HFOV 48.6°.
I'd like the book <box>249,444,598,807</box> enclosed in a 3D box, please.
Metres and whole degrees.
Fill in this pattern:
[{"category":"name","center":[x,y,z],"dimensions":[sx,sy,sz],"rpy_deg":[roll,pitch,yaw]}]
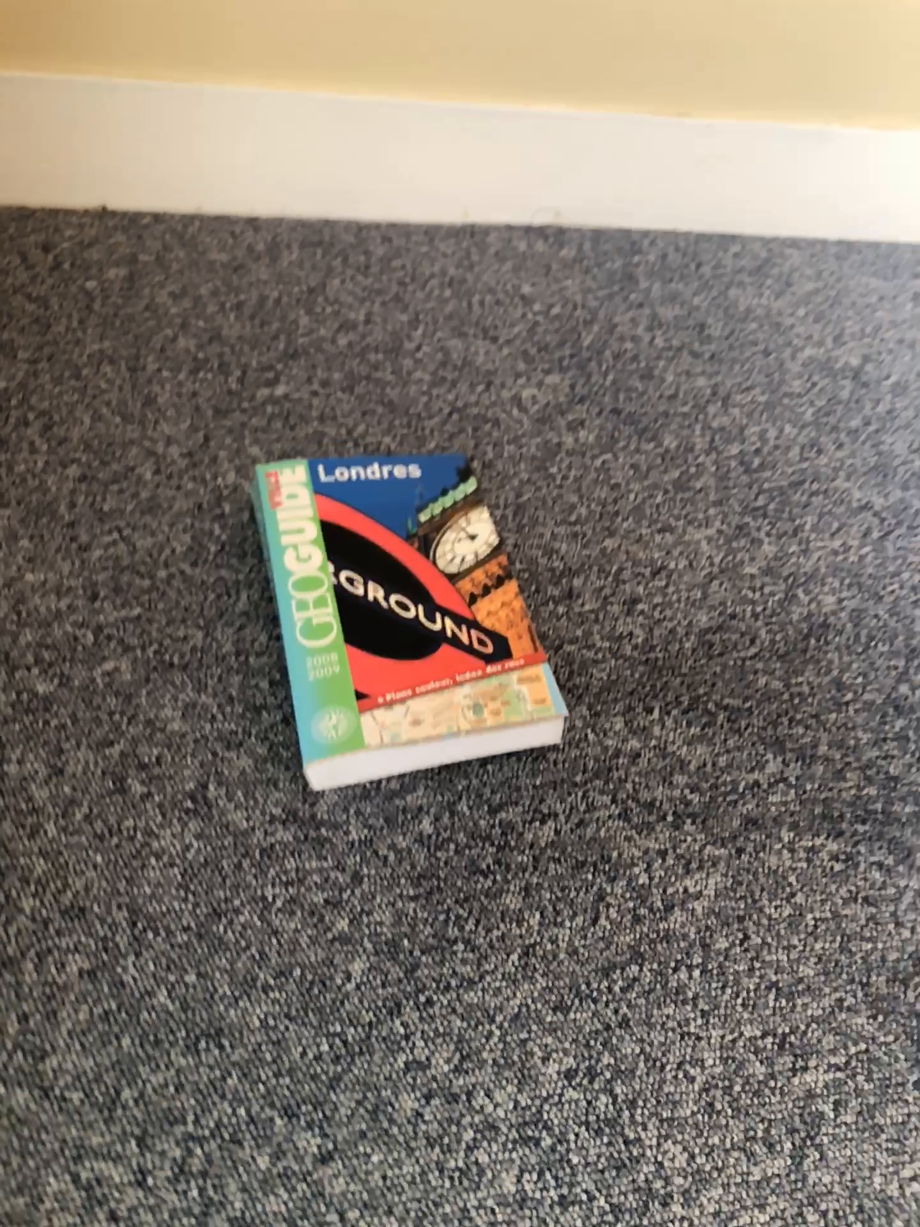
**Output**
[{"category":"book","center":[-0.028,-0.007,0.507],"dimensions":[0.130,0.030,0.201],"rpy_deg":[-5,49,-15]}]
